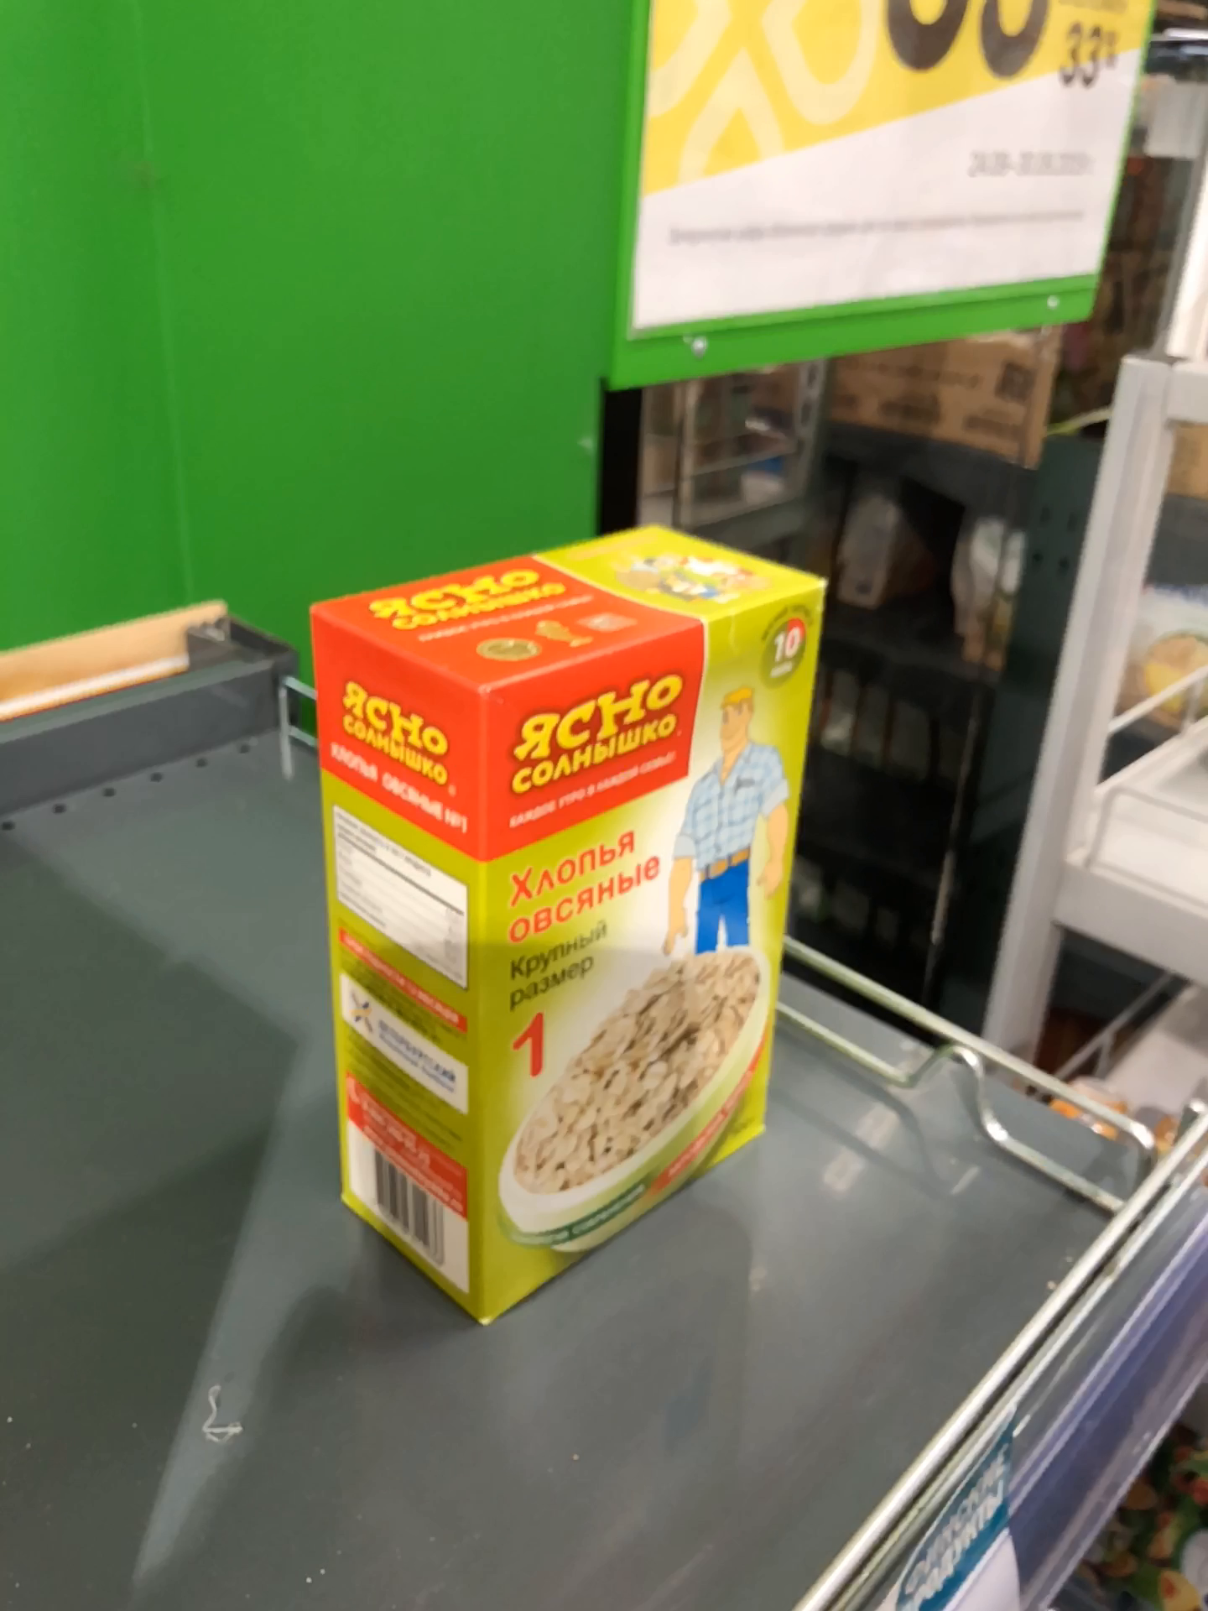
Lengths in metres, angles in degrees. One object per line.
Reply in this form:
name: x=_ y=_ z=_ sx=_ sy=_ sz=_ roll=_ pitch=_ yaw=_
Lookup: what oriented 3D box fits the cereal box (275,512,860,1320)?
cereal box: x=-0.010 y=0.023 z=0.385 sx=0.130 sy=0.179 sz=0.080 roll=-22 pitch=36 yaw=-40
